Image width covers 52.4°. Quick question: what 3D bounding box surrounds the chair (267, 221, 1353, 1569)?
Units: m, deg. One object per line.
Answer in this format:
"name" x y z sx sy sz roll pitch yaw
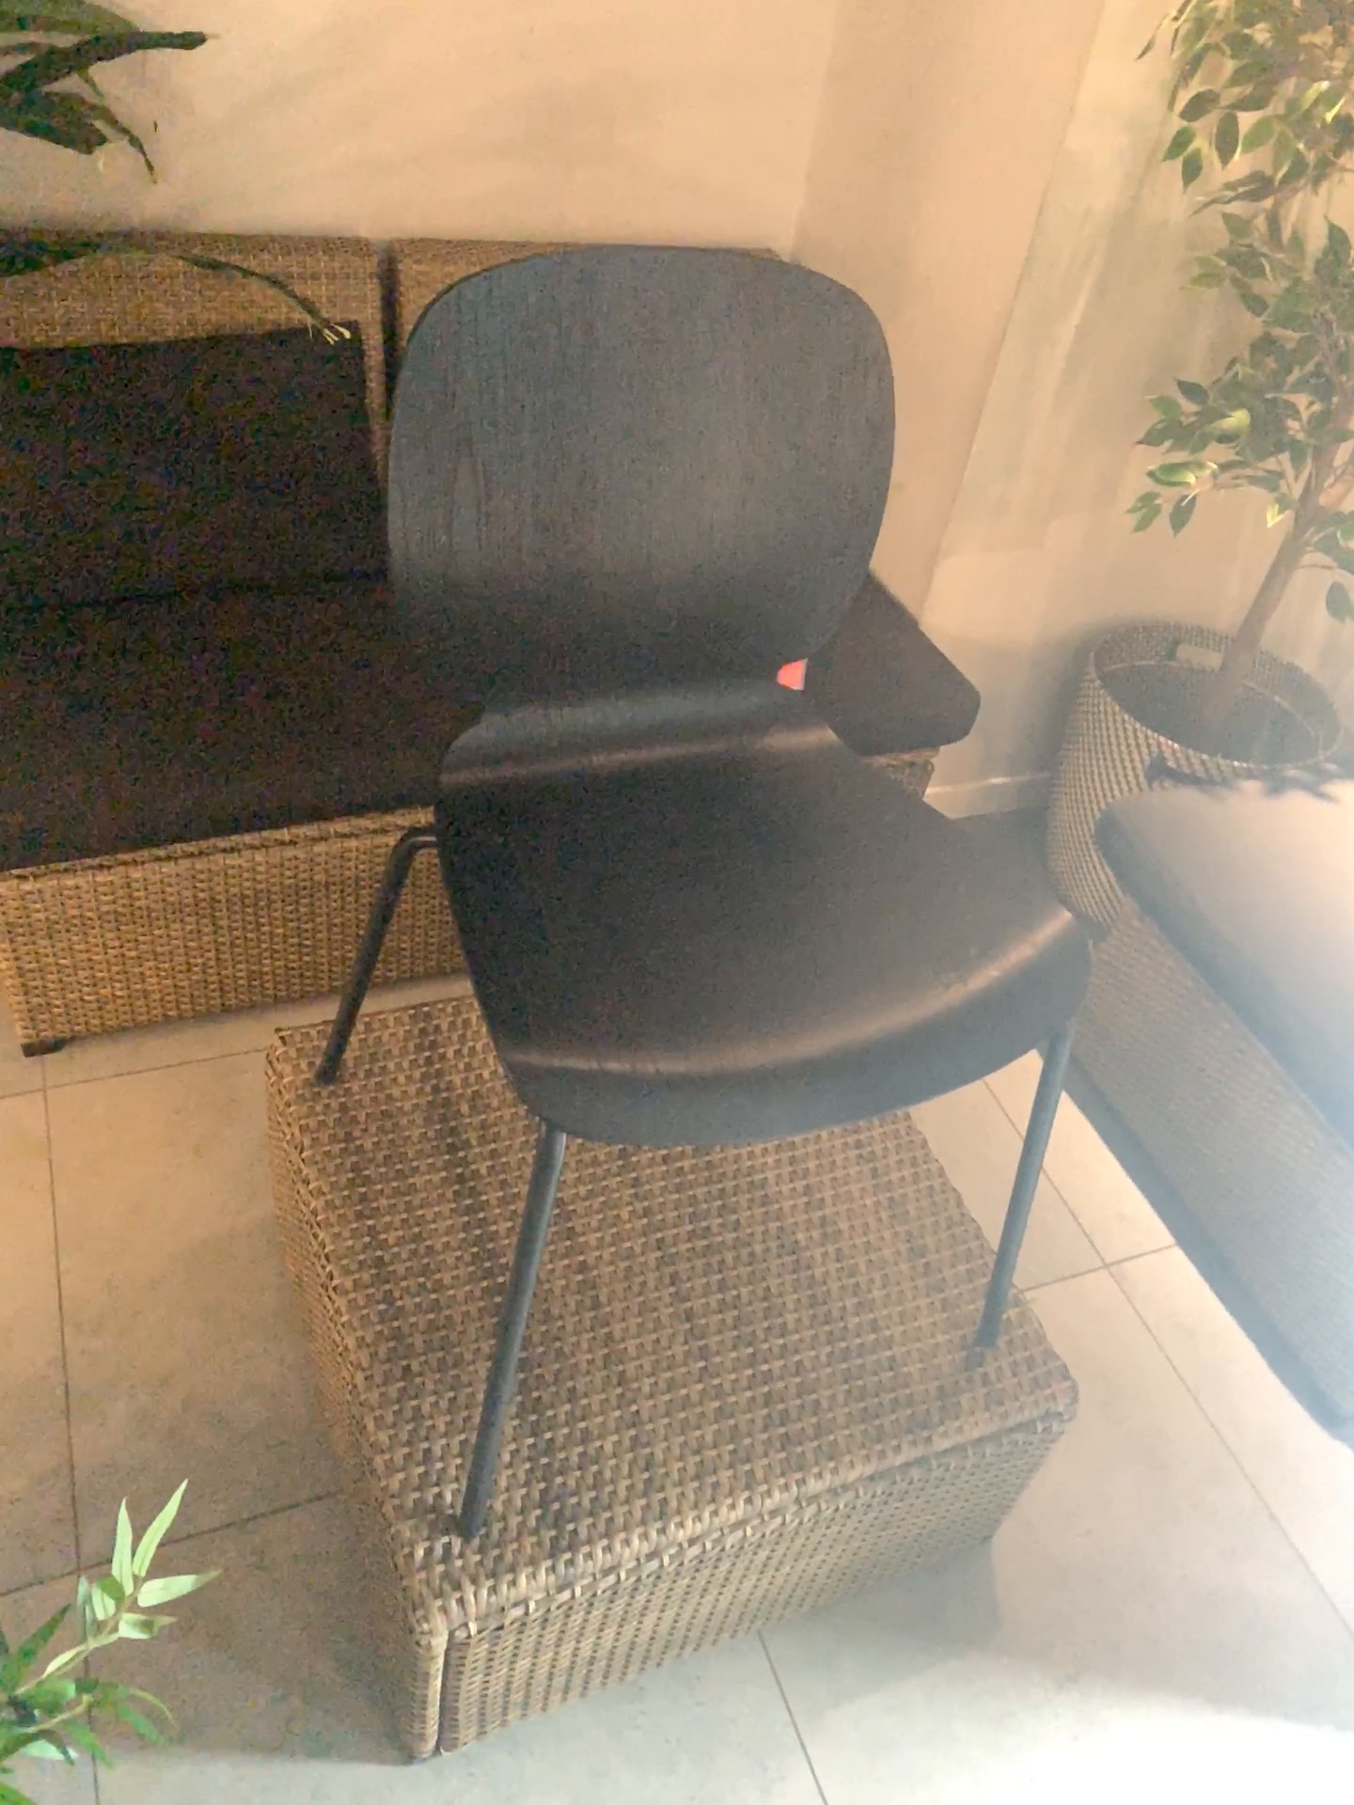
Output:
"chair" 0.032 -0.014 1.058 0.531 0.767 0.562 -11 46 -24
